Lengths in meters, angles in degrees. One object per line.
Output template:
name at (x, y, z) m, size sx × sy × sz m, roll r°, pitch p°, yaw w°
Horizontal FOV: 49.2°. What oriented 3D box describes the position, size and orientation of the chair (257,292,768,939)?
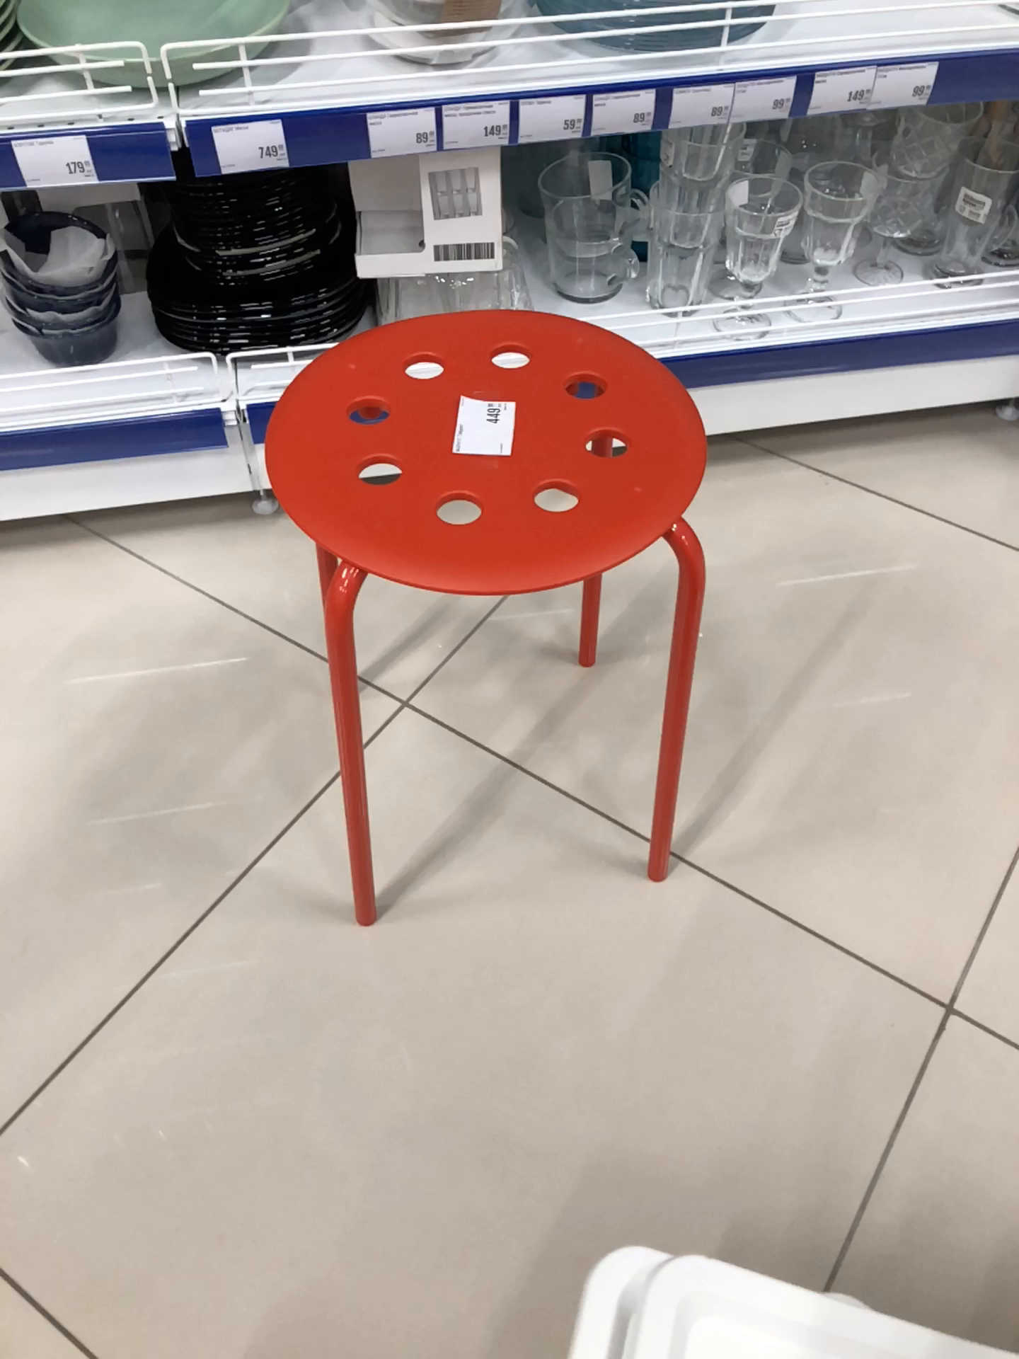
chair at (-0.017, -0.044, 0.941) m, size 0.313 × 0.405 × 0.322 m, roll -7°, pitch 50°, yaw -6°
